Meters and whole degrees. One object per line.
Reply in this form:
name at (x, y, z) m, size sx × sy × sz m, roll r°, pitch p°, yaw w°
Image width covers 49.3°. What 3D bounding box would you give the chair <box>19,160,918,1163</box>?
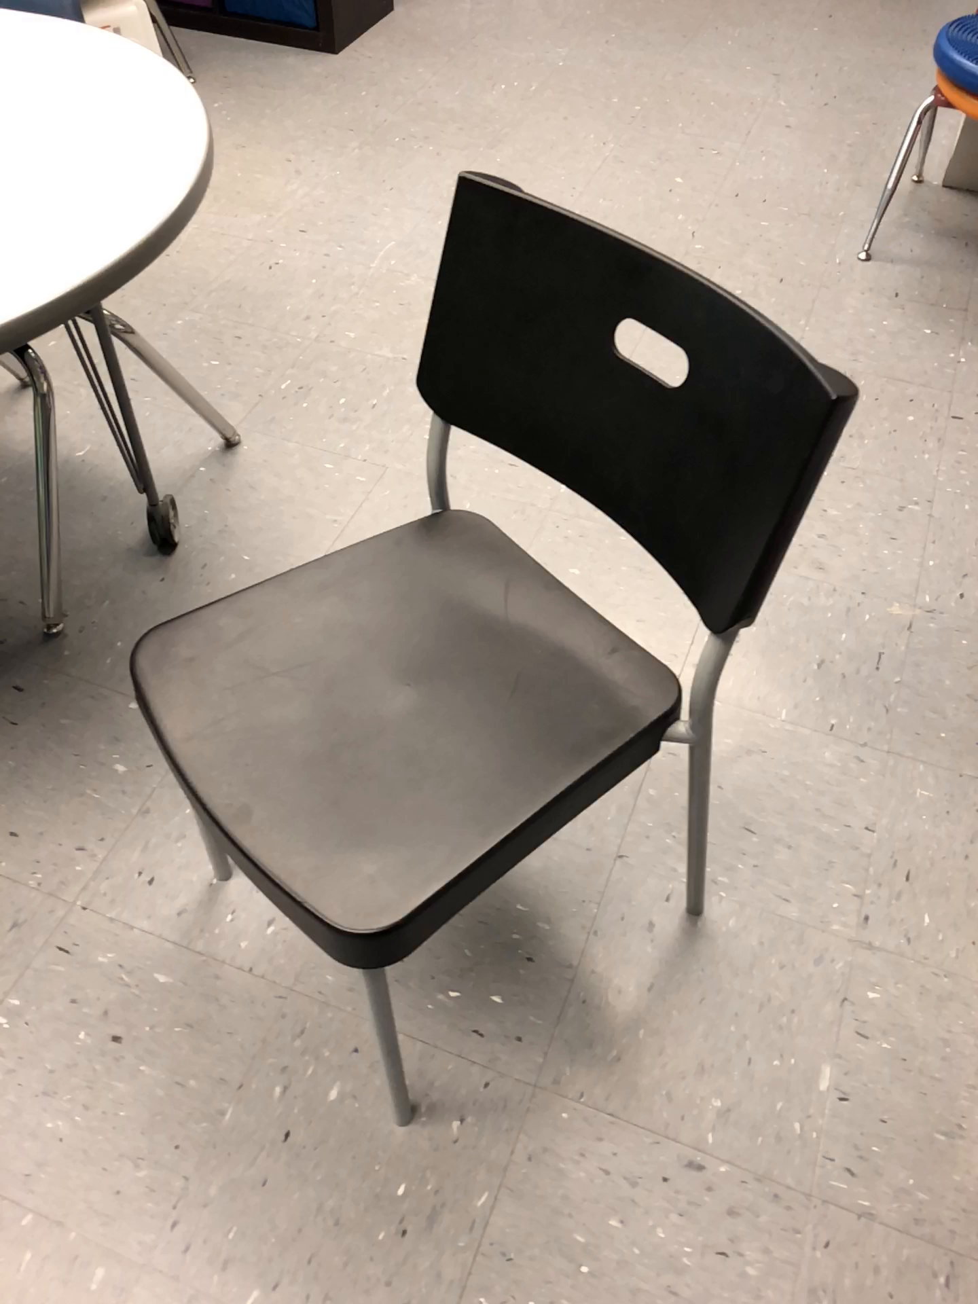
chair at (-0.026, 0.042, 1.072) m, size 0.473 × 0.777 × 0.467 m, roll -31°, pitch 56°, yaw -25°
